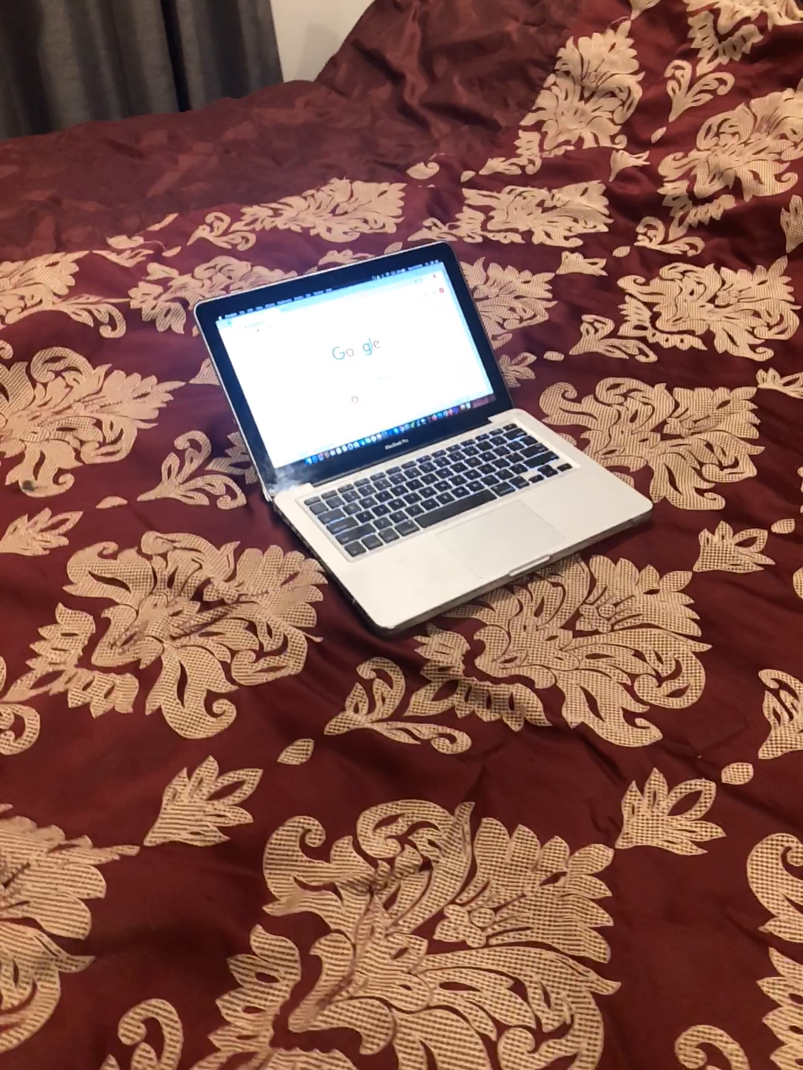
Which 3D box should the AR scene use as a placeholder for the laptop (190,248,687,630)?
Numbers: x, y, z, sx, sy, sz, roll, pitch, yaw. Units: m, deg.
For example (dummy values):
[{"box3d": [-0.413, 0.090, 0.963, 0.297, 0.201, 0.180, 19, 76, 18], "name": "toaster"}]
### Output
[{"box3d": [0.018, -0.116, 0.820, 0.292, 0.133, 0.343, -22, 44, -24], "name": "laptop"}]
